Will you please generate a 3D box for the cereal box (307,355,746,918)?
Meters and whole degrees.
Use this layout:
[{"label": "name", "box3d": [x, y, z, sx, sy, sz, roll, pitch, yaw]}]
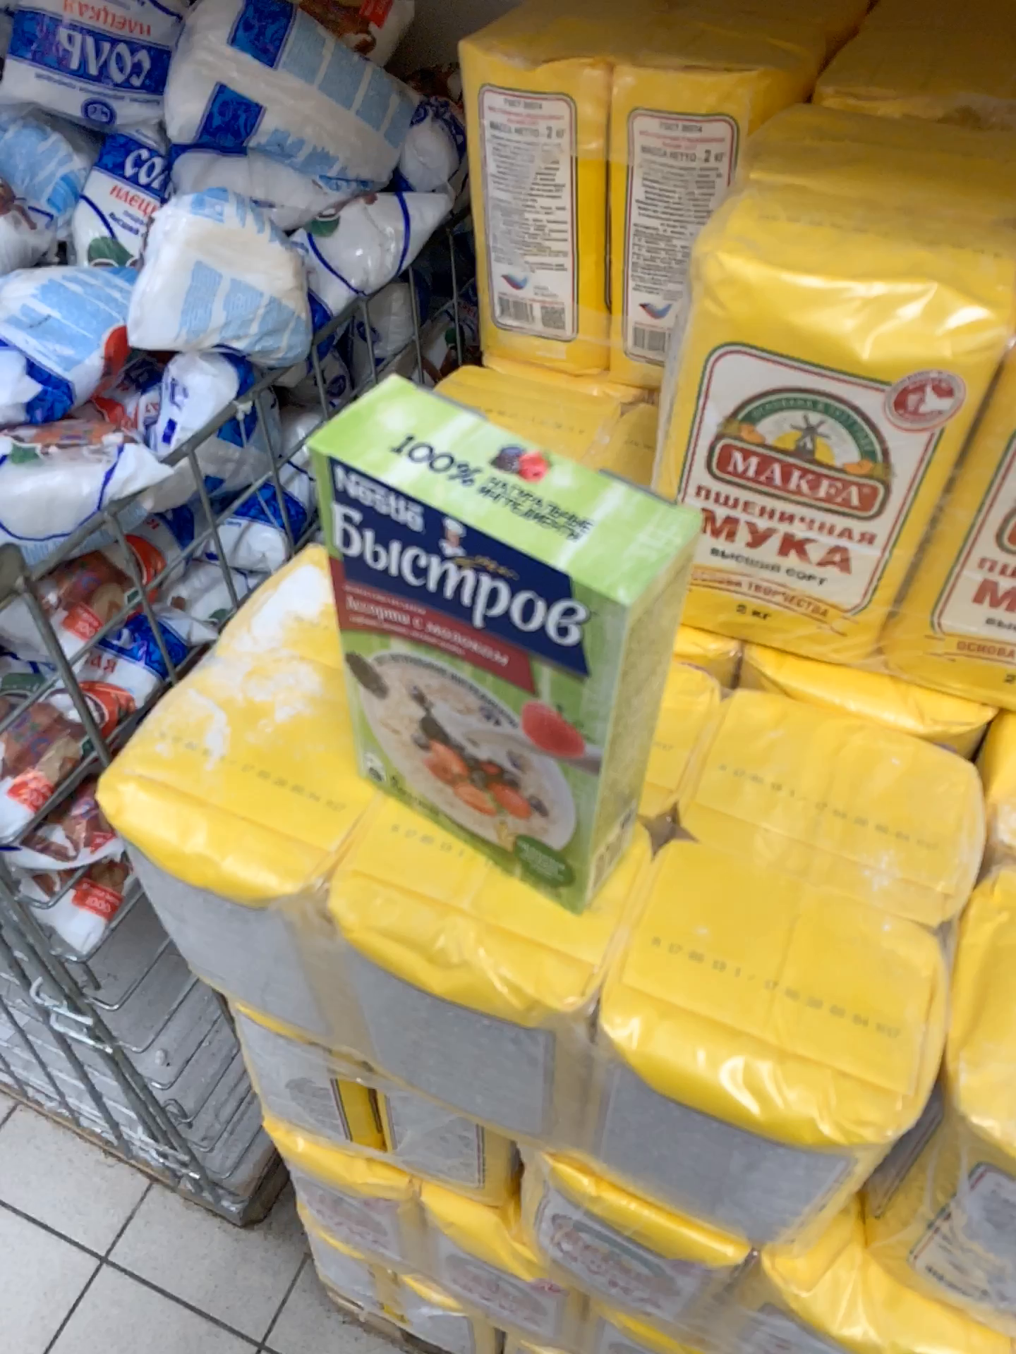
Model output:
[{"label": "cereal box", "box3d": [0.003, -0.005, 0.367, 0.120, 0.179, 0.050, 30, 57, 21]}]
